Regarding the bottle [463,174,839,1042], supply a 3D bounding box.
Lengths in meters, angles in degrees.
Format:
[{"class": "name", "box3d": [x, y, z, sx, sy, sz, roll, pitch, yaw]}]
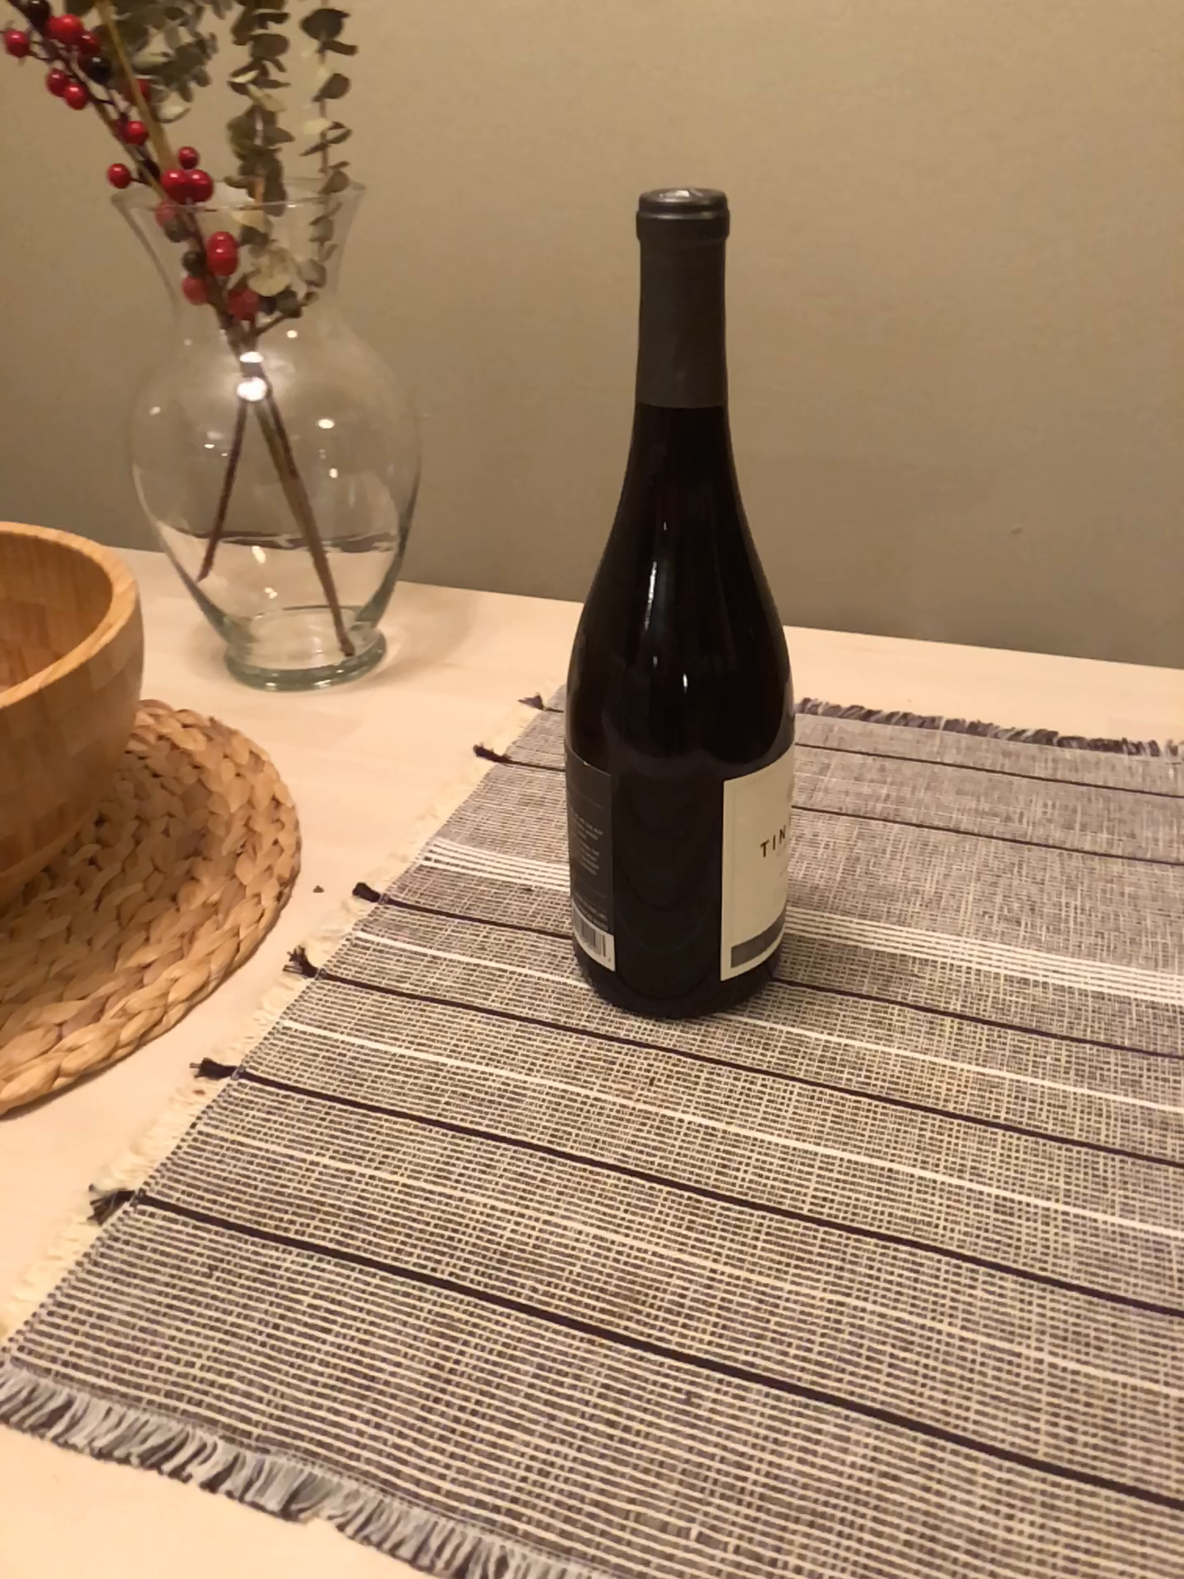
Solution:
[{"class": "bottle", "box3d": [0.026, -0.057, 0.467, 0.100, 0.288, 0.091, 5, 30, 12]}]

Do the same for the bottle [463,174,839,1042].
[{"class": "bottle", "box3d": [0.026, -0.057, 0.467, 0.100, 0.288, 0.091, 5, 30, 12]}]
